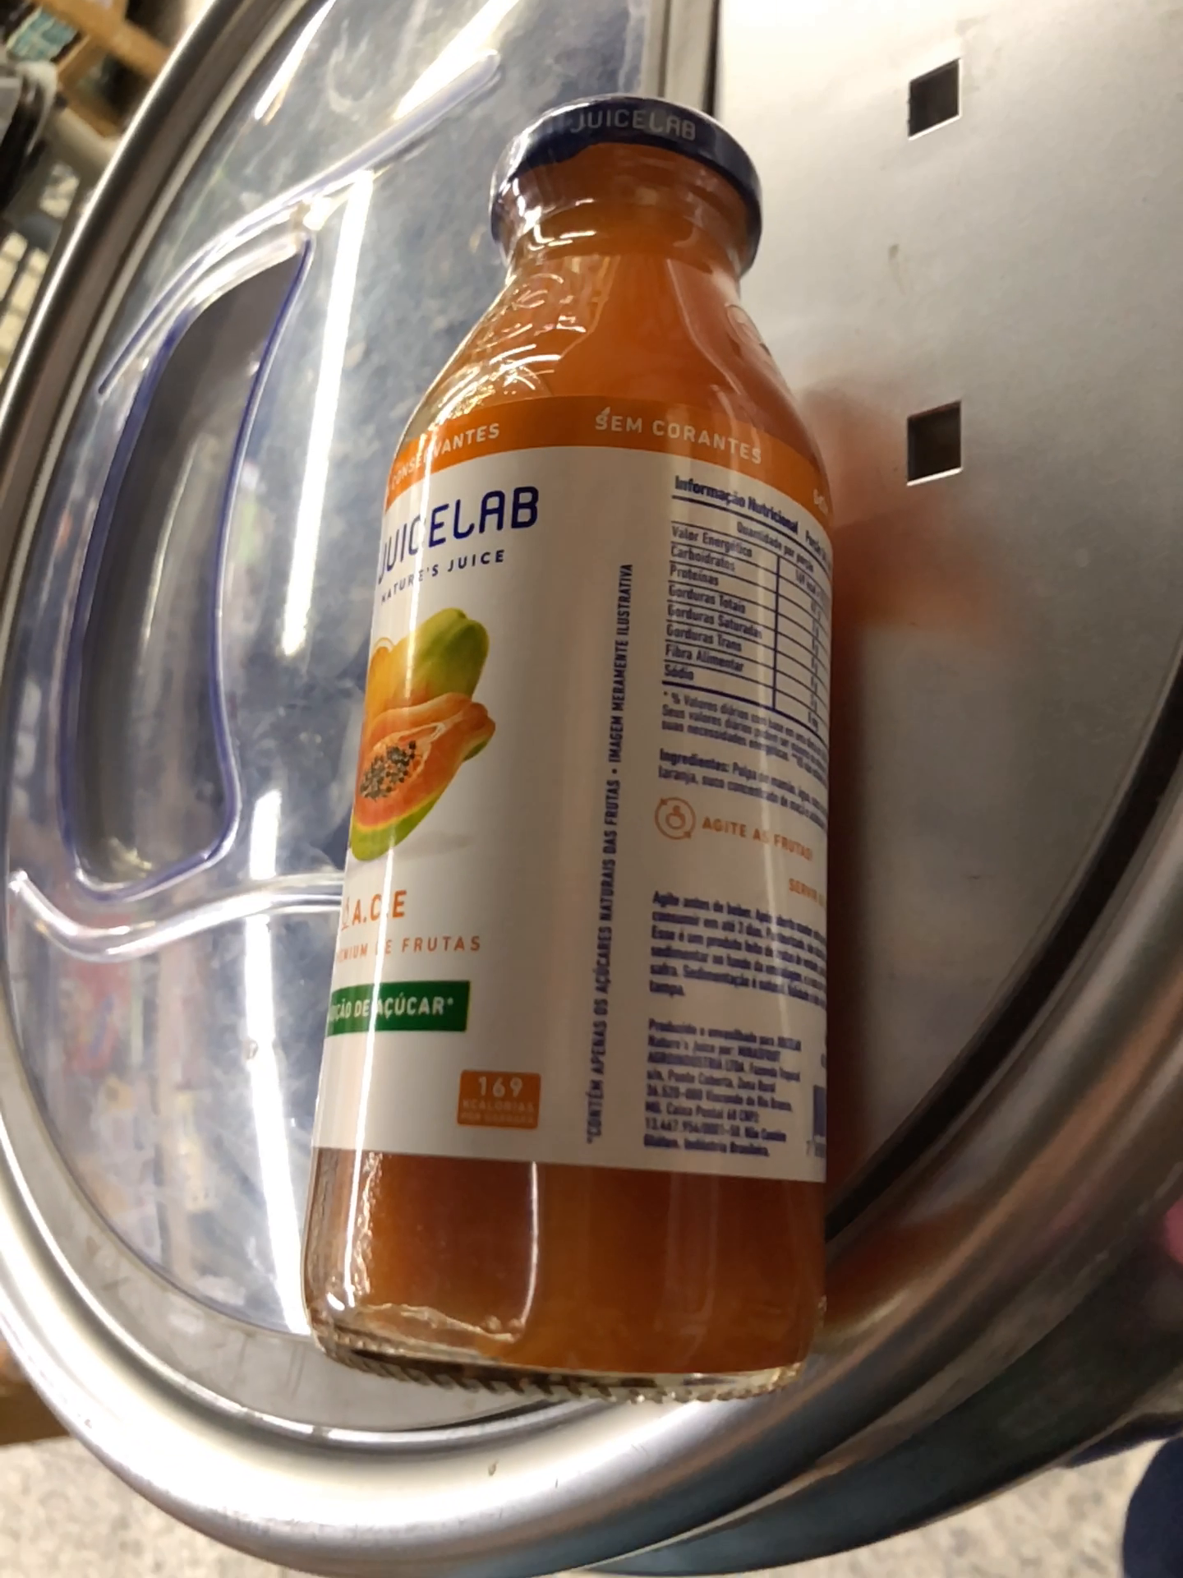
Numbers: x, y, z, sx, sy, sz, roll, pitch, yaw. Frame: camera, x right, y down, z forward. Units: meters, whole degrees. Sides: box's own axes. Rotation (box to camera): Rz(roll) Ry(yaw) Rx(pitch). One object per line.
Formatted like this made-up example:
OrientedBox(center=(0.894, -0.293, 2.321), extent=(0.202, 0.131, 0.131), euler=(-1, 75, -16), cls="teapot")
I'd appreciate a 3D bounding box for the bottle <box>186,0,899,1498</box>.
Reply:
OrientedBox(center=(-0.003, -0.021, 0.179), extent=(0.070, 0.050, 0.190), euler=(-12, 69, 47), cls="bottle")
